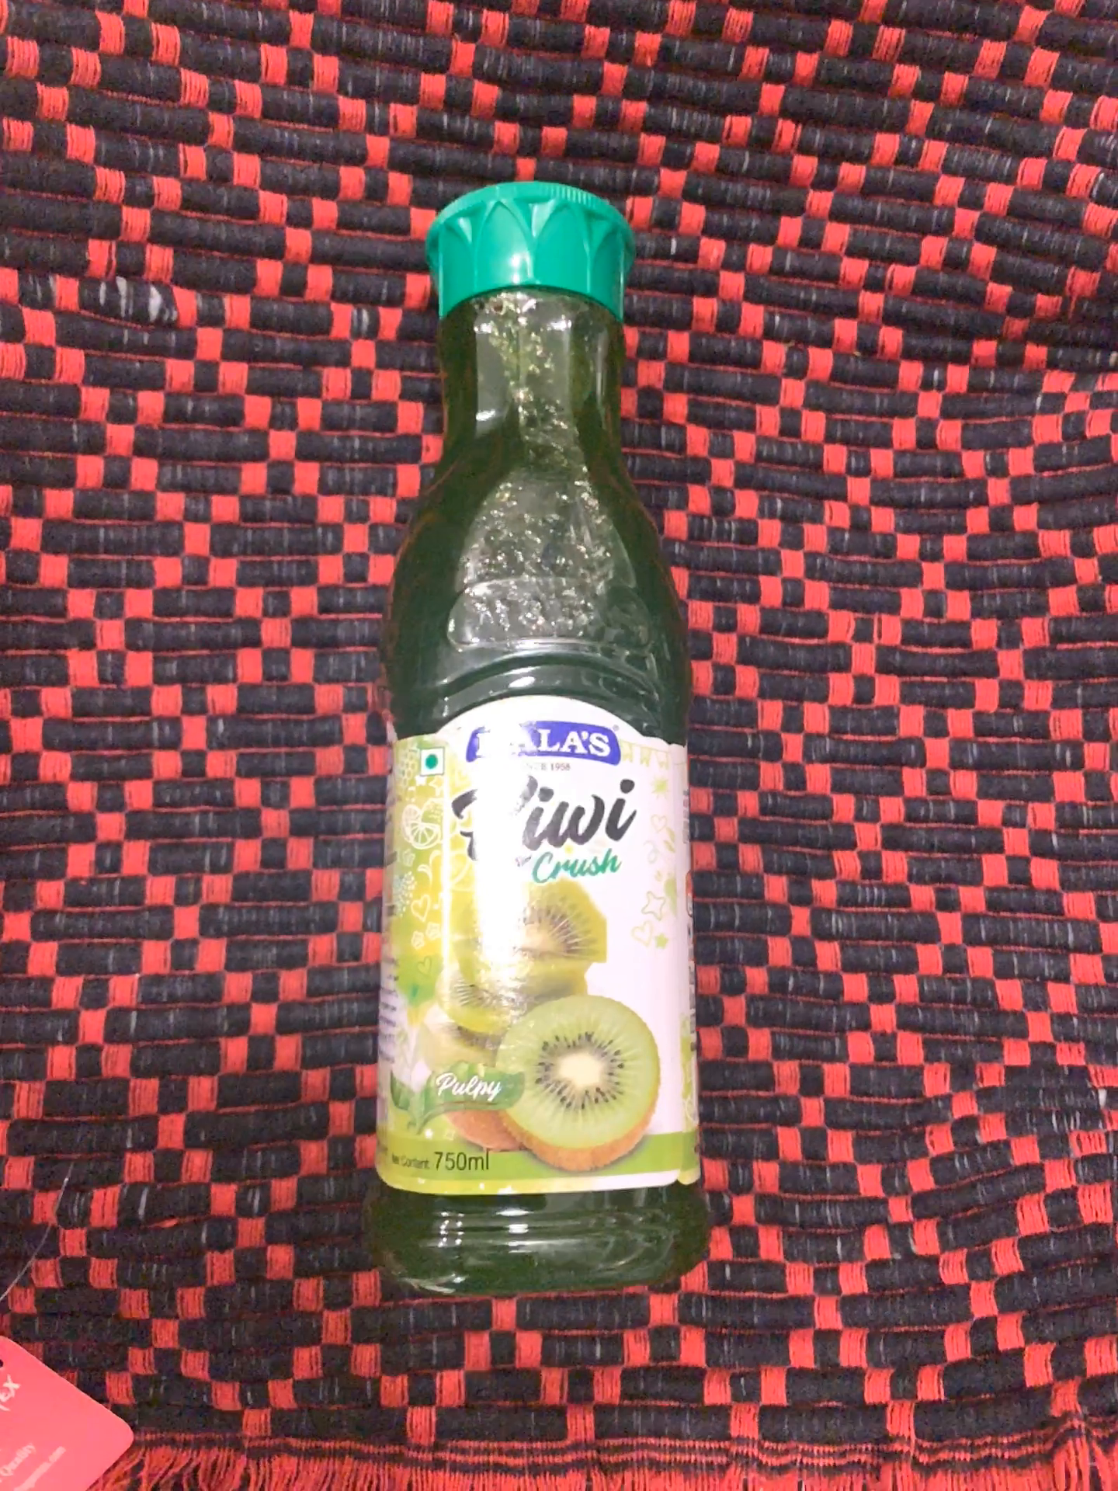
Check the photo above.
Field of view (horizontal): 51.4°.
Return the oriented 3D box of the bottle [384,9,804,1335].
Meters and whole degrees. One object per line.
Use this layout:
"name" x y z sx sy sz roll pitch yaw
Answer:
"bottle" 0.001 -0.020 0.263 0.070 0.080 0.260 2 77 -10
